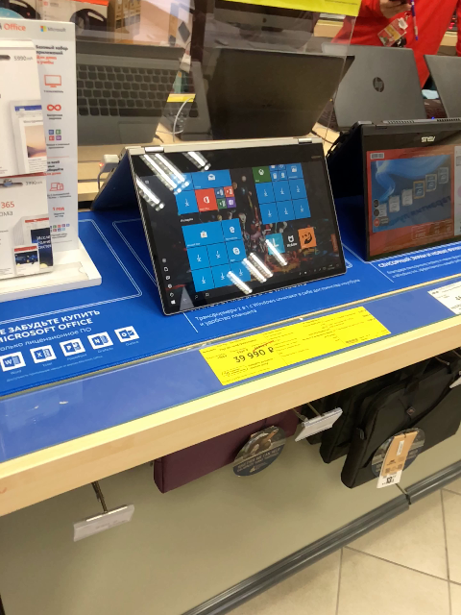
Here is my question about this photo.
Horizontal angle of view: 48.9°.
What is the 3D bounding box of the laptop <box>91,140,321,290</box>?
[{"bbox_3d":[-0.059,-0.155,0.909,0.336,0.150,0.210,-13,13,-28],"label":"laptop"}]
